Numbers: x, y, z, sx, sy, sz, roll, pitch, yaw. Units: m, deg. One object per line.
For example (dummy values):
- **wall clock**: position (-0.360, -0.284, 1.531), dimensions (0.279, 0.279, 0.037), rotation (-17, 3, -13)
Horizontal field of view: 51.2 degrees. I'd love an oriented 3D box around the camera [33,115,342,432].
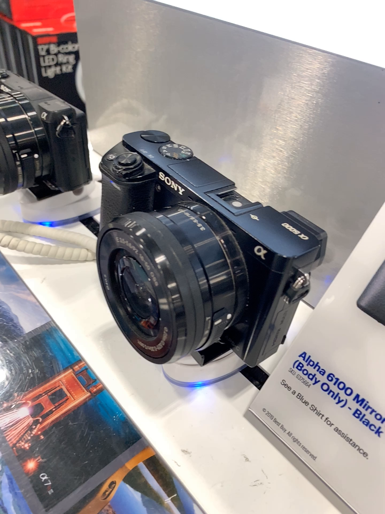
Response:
- **camera**: position (-0.013, -0.005, 0.184), dimensions (0.065, 0.074, 0.120), rotation (-20, 46, -36)
